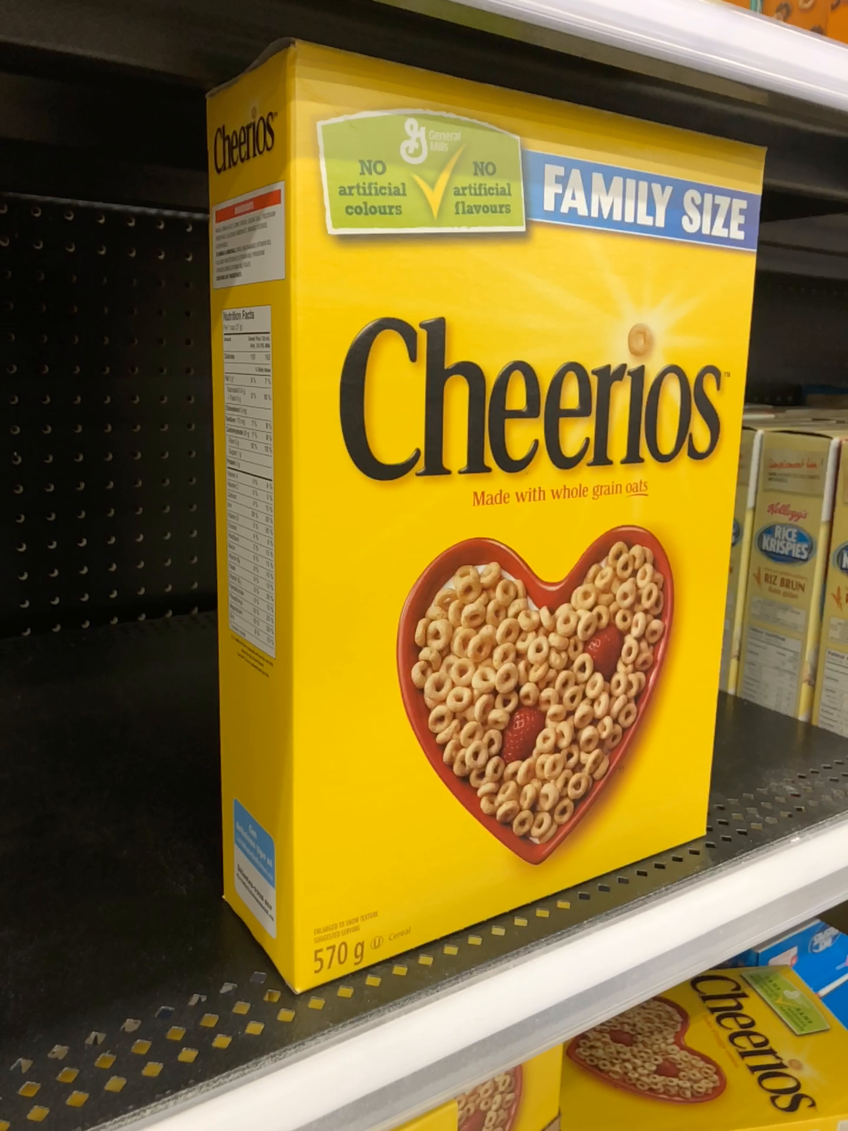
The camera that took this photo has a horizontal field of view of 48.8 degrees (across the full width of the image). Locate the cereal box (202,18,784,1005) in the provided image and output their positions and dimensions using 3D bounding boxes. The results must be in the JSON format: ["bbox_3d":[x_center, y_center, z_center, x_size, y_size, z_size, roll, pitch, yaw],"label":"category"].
[{"bbox_3d":[0.031,-0.021,0.423,0.240,0.339,0.090,-6,14,-35],"label":"cereal box"}]
